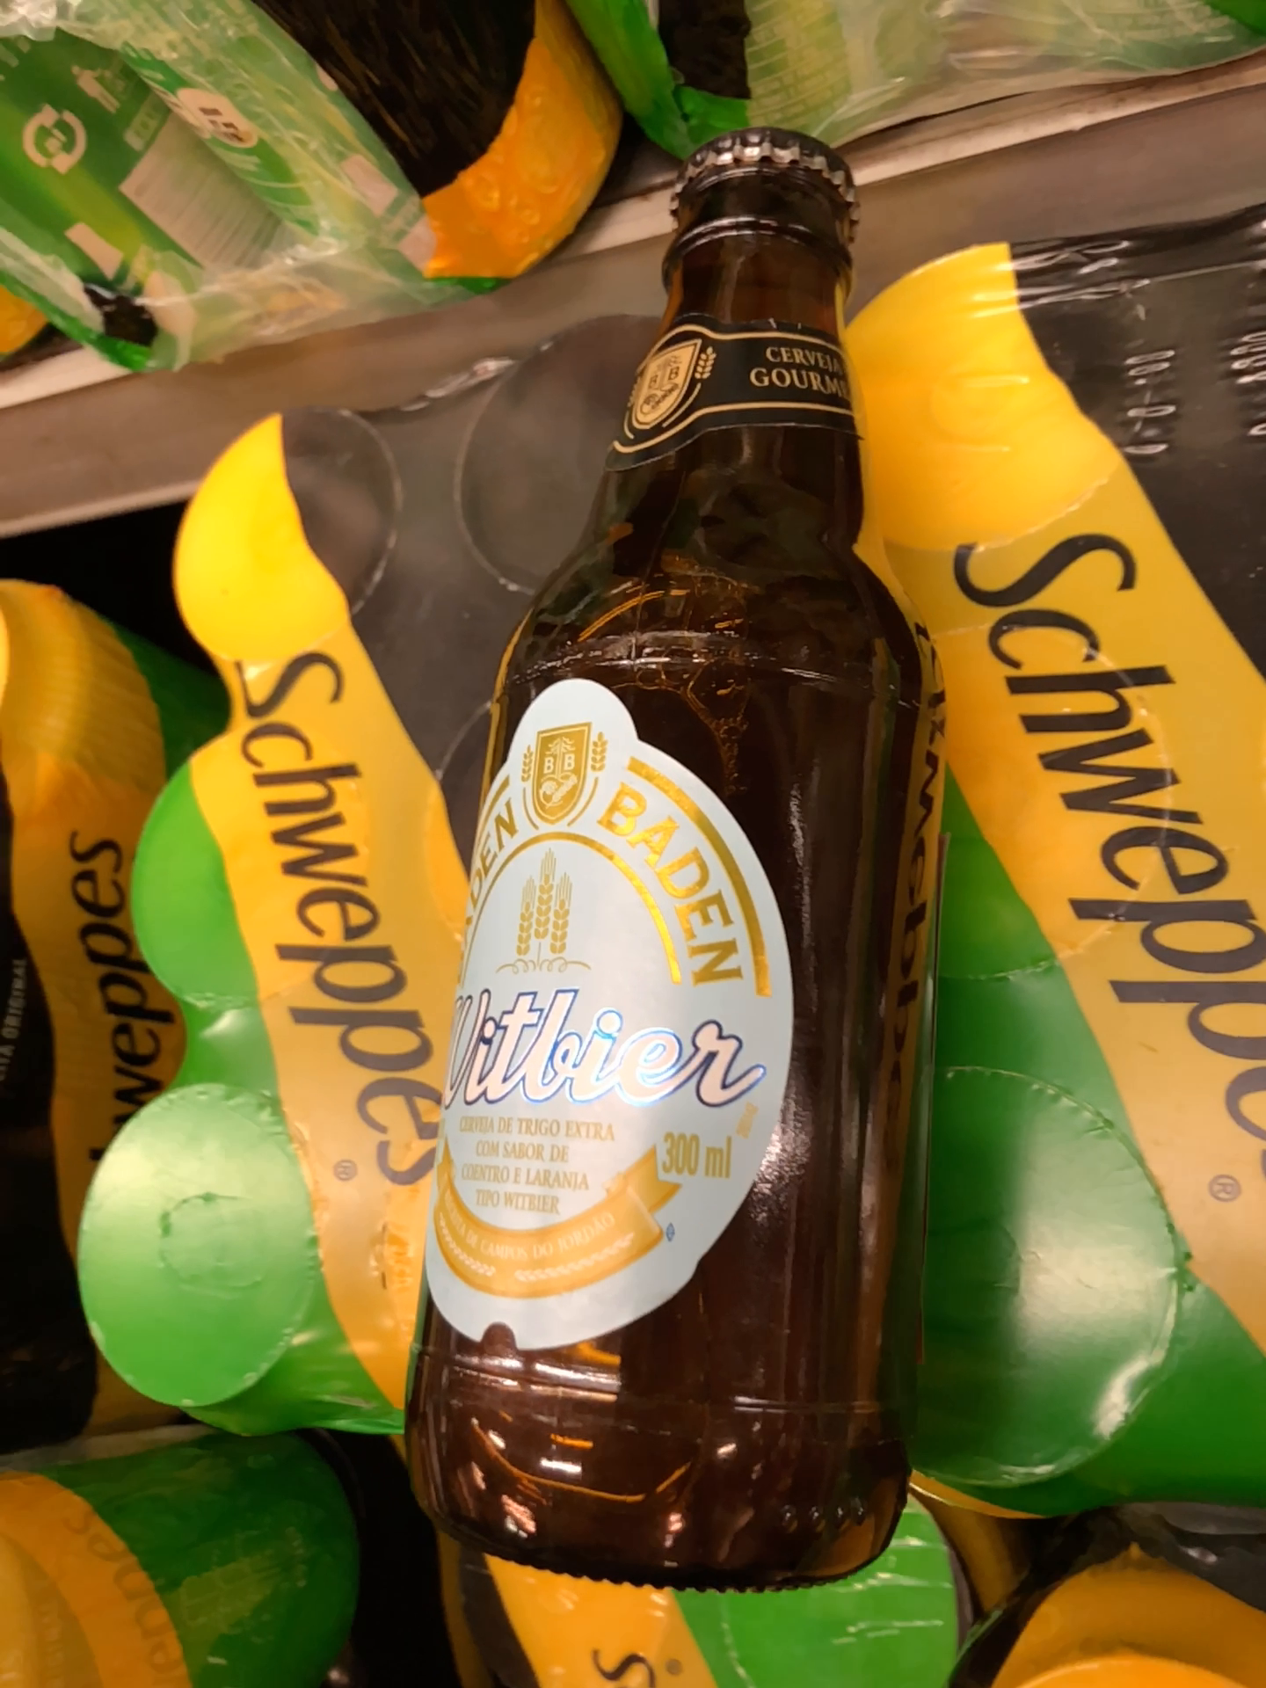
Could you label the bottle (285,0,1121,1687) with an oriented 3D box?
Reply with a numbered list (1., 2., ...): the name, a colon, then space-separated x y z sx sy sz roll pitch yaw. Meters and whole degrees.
1. bottle: 0.017 -0.020 0.175 0.070 0.060 0.200 0 79 26
